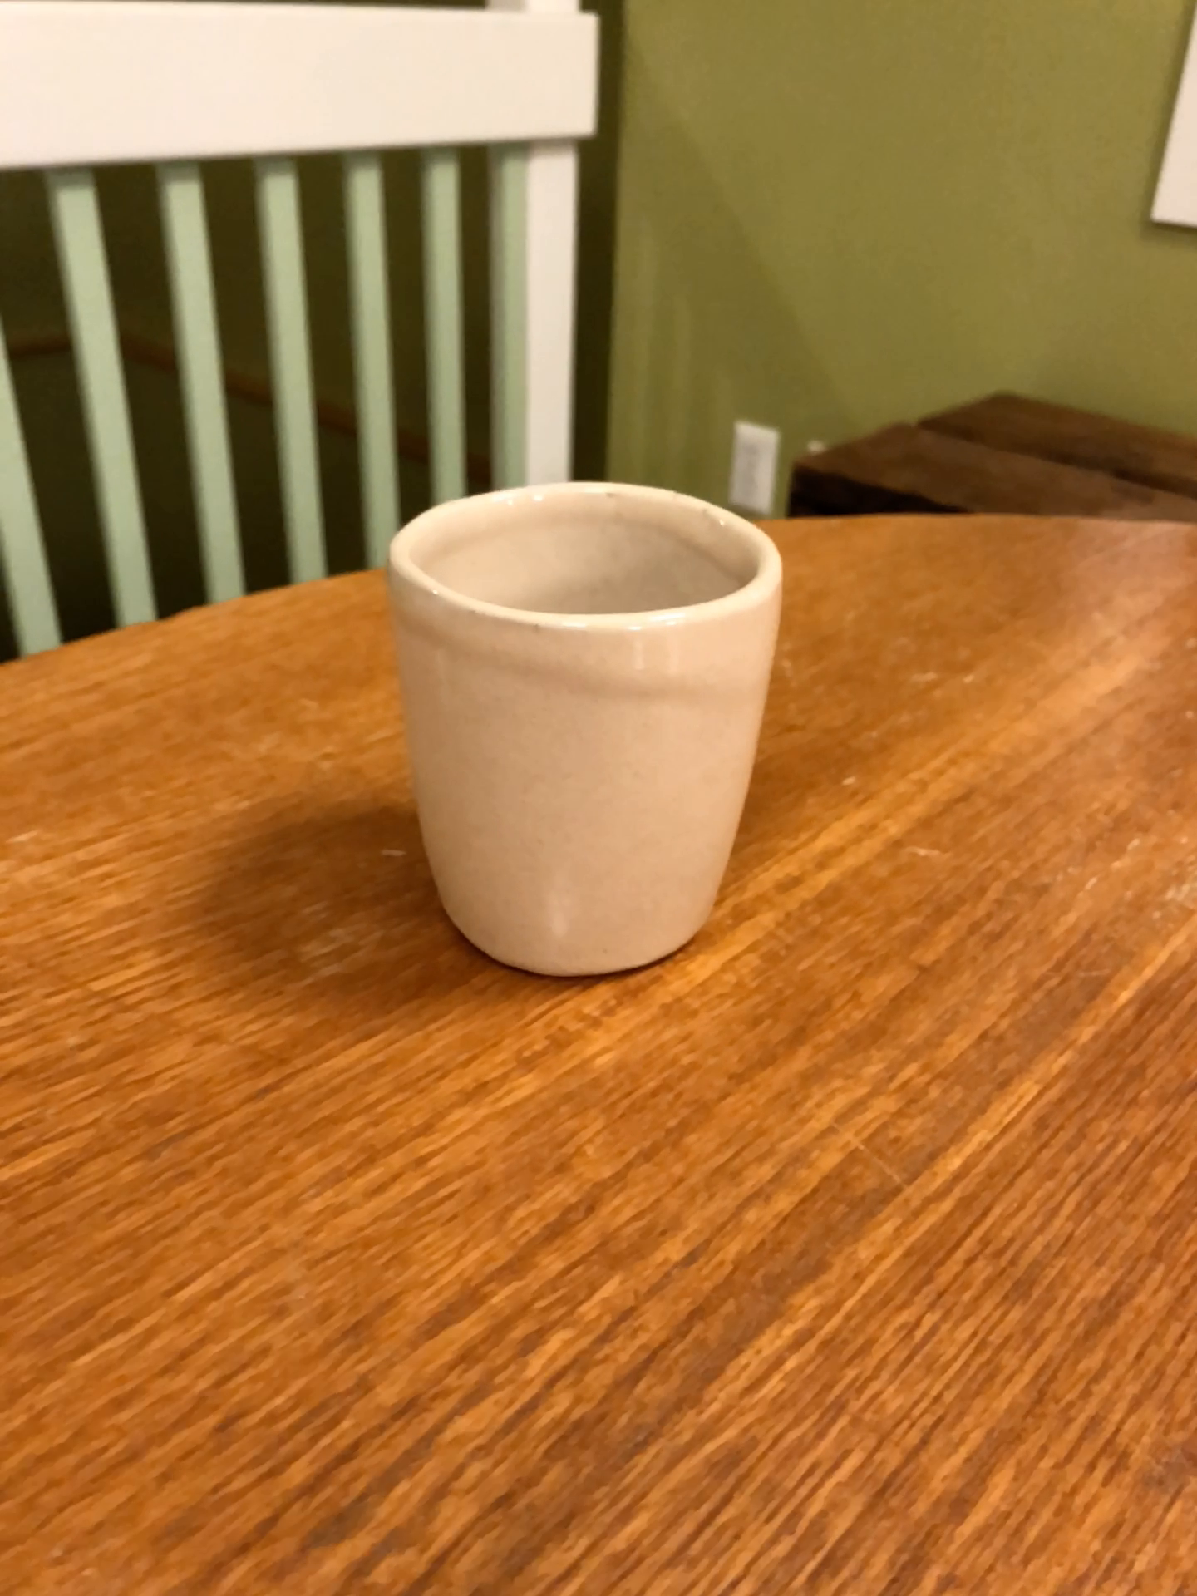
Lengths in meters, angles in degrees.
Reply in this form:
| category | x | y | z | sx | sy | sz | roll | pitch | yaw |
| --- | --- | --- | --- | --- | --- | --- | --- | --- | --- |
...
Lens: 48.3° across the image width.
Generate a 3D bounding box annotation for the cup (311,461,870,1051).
| category | x | y | z | sx | sy | sz | roll | pitch | yaw |
| --- | --- | --- | --- | --- | --- | --- | --- | --- | --- |
| cup | -0.002 | -0.016 | 0.301 | 0.084 | 0.086 | 0.083 | 2 | 30 | -1 |
